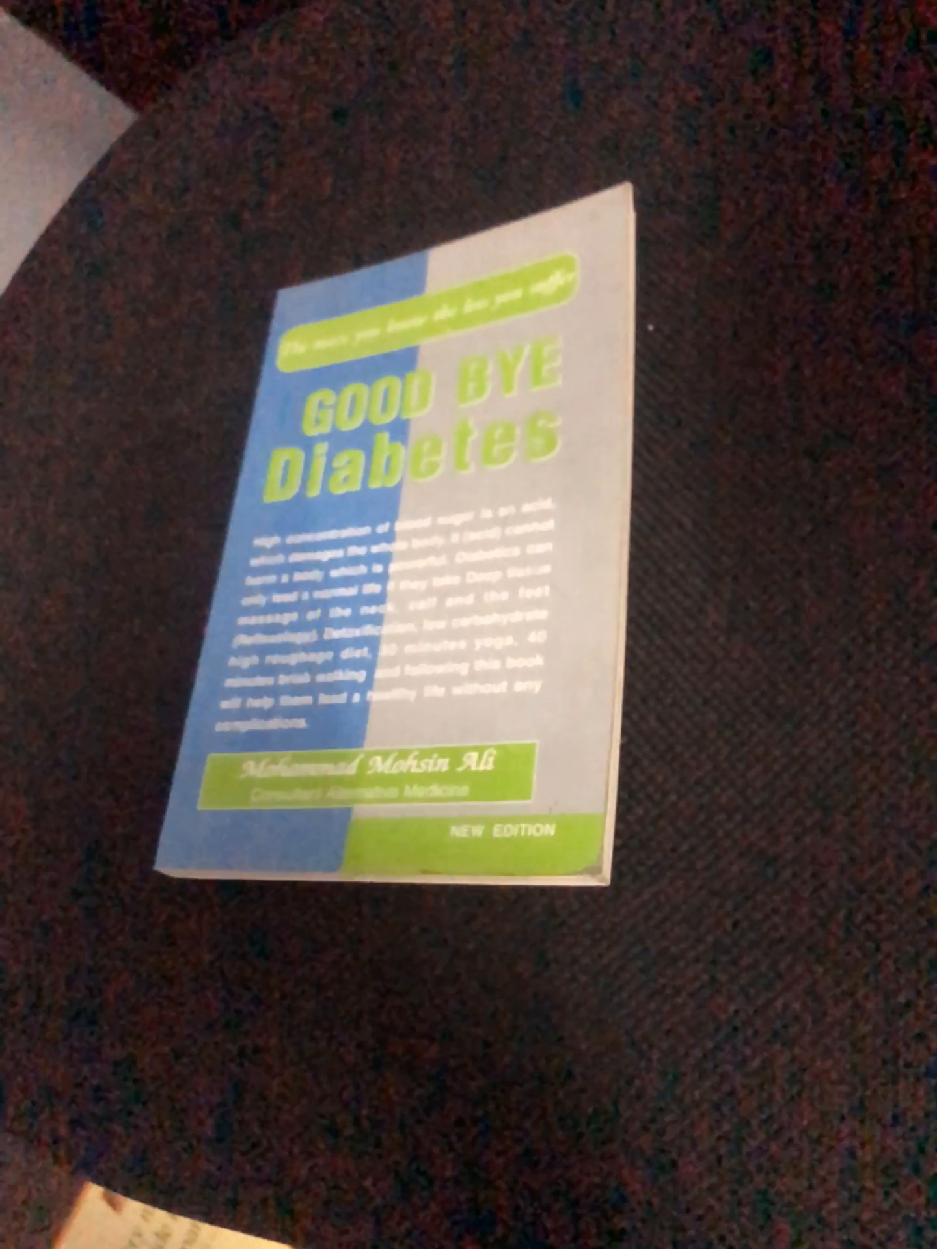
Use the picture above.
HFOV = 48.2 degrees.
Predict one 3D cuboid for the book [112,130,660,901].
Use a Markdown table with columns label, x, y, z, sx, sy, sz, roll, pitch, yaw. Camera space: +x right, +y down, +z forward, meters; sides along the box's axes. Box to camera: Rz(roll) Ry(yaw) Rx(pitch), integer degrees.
| label | x | y | z | sx | sy | sz | roll | pitch | yaw |
| --- | --- | --- | --- | --- | --- | --- | --- | --- | --- |
| book | -0.020 | -0.037 | 0.321 | 0.150 | 0.020 | 0.230 | -6 | 65 | 26 |
